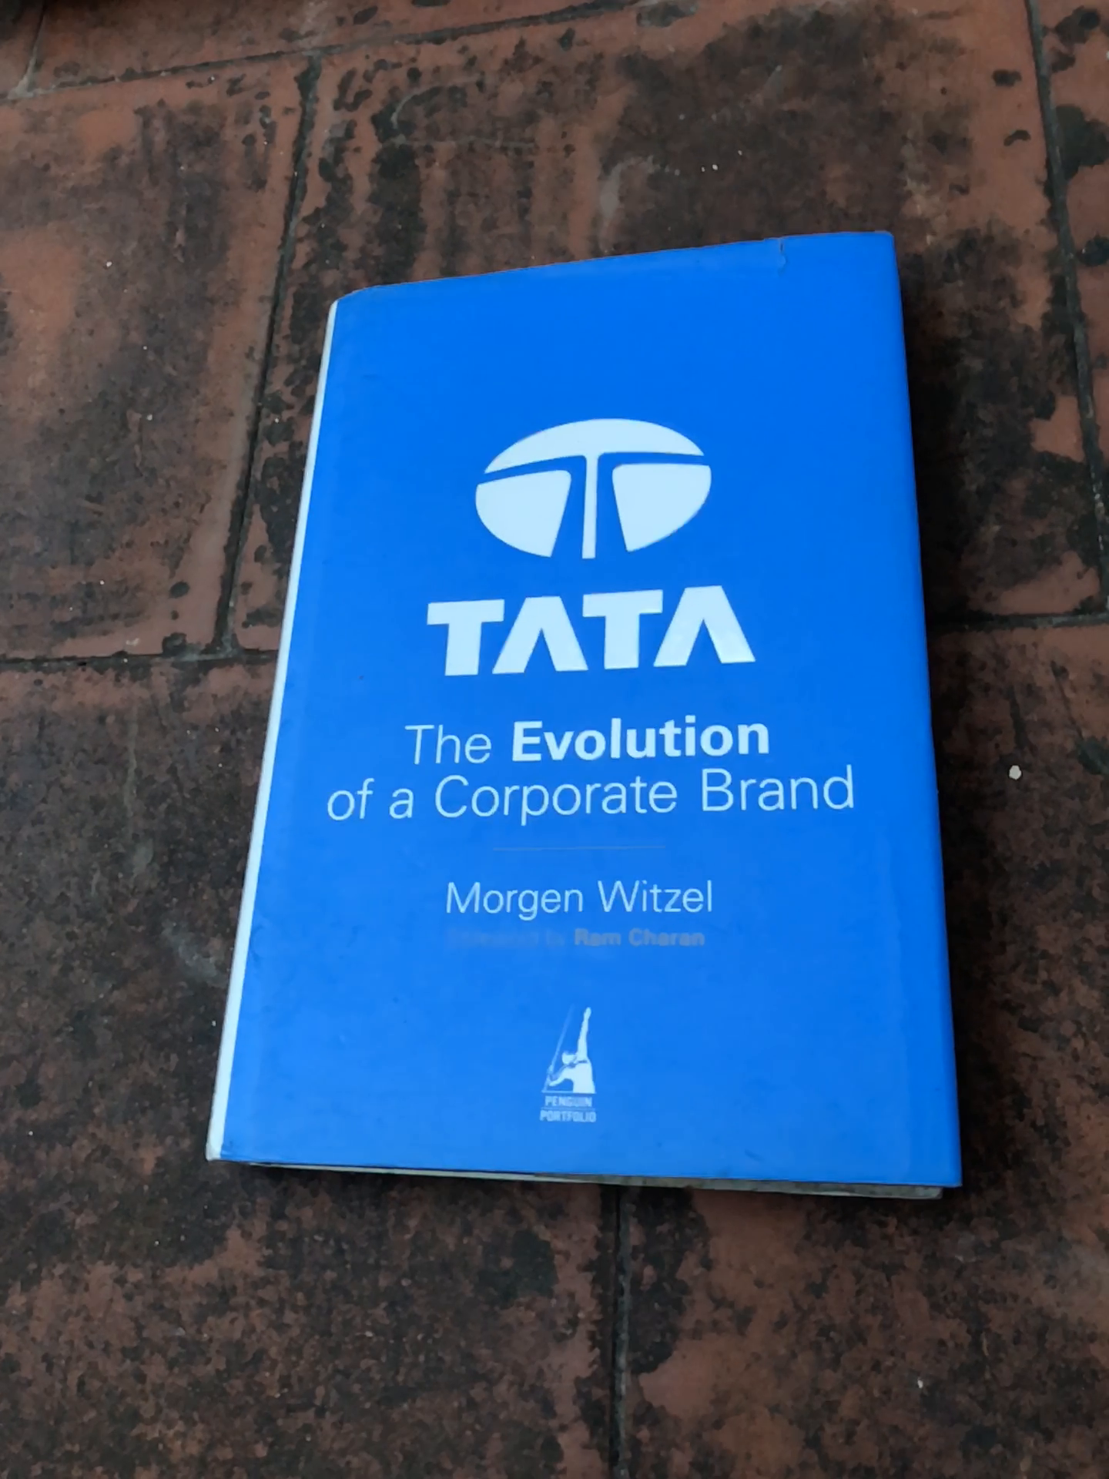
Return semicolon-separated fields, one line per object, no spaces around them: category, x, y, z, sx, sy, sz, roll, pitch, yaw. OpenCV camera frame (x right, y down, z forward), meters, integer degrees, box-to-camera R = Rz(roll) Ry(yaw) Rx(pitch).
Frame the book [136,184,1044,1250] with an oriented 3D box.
book;0.011;-0.015;0.291;0.170;0.040;0.240;-2;67;12
